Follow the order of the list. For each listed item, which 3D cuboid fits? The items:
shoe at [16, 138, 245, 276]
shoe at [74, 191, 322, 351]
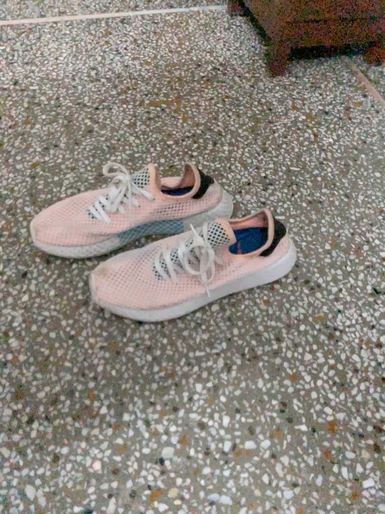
[{"bbox_3d":[-0.093,-0.082,0.606,0.310,0.100,0.122,-13,59,-12],"label":"shoe"},{"bbox_3d":[0.006,0.014,0.563,0.310,0.100,0.122,-15,59,-14],"label":"shoe"}]
